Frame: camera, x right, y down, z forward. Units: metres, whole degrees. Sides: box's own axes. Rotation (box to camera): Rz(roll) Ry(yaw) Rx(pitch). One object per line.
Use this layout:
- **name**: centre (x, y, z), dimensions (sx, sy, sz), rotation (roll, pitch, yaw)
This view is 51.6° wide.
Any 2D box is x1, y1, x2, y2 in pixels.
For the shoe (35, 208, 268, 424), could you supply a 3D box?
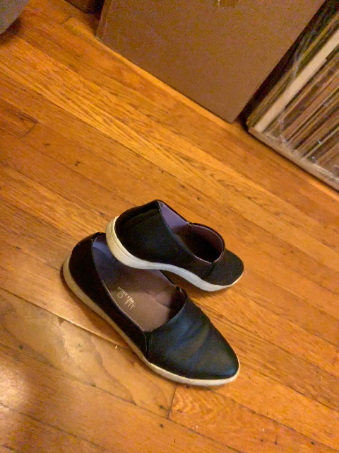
- **shoe**: centre (-0.019, 0.109, 0.426), dimensions (0.260, 0.080, 0.100), rotation (39, 50, -2)

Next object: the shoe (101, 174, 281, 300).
- **shoe**: centre (0.041, 0.030, 0.461), dimensions (0.250, 0.080, 0.100), rotation (16, 51, -47)
